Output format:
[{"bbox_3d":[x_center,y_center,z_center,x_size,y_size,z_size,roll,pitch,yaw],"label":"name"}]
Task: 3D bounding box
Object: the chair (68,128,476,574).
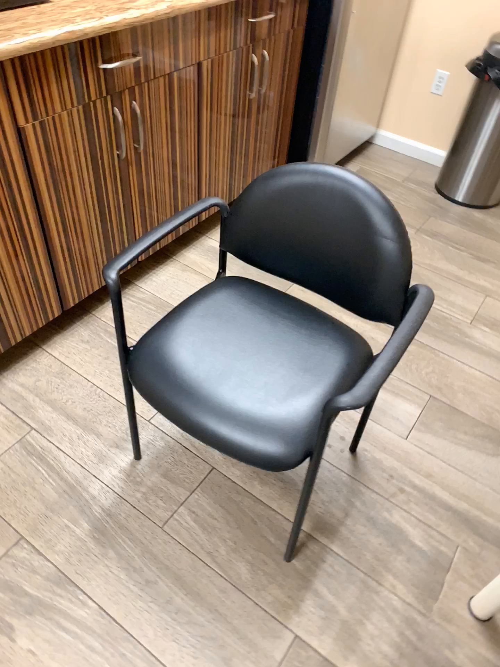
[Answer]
[{"bbox_3d":[0.038,0.043,1.213,0.591,0.736,0.522,27,48,19],"label":"chair"}]
